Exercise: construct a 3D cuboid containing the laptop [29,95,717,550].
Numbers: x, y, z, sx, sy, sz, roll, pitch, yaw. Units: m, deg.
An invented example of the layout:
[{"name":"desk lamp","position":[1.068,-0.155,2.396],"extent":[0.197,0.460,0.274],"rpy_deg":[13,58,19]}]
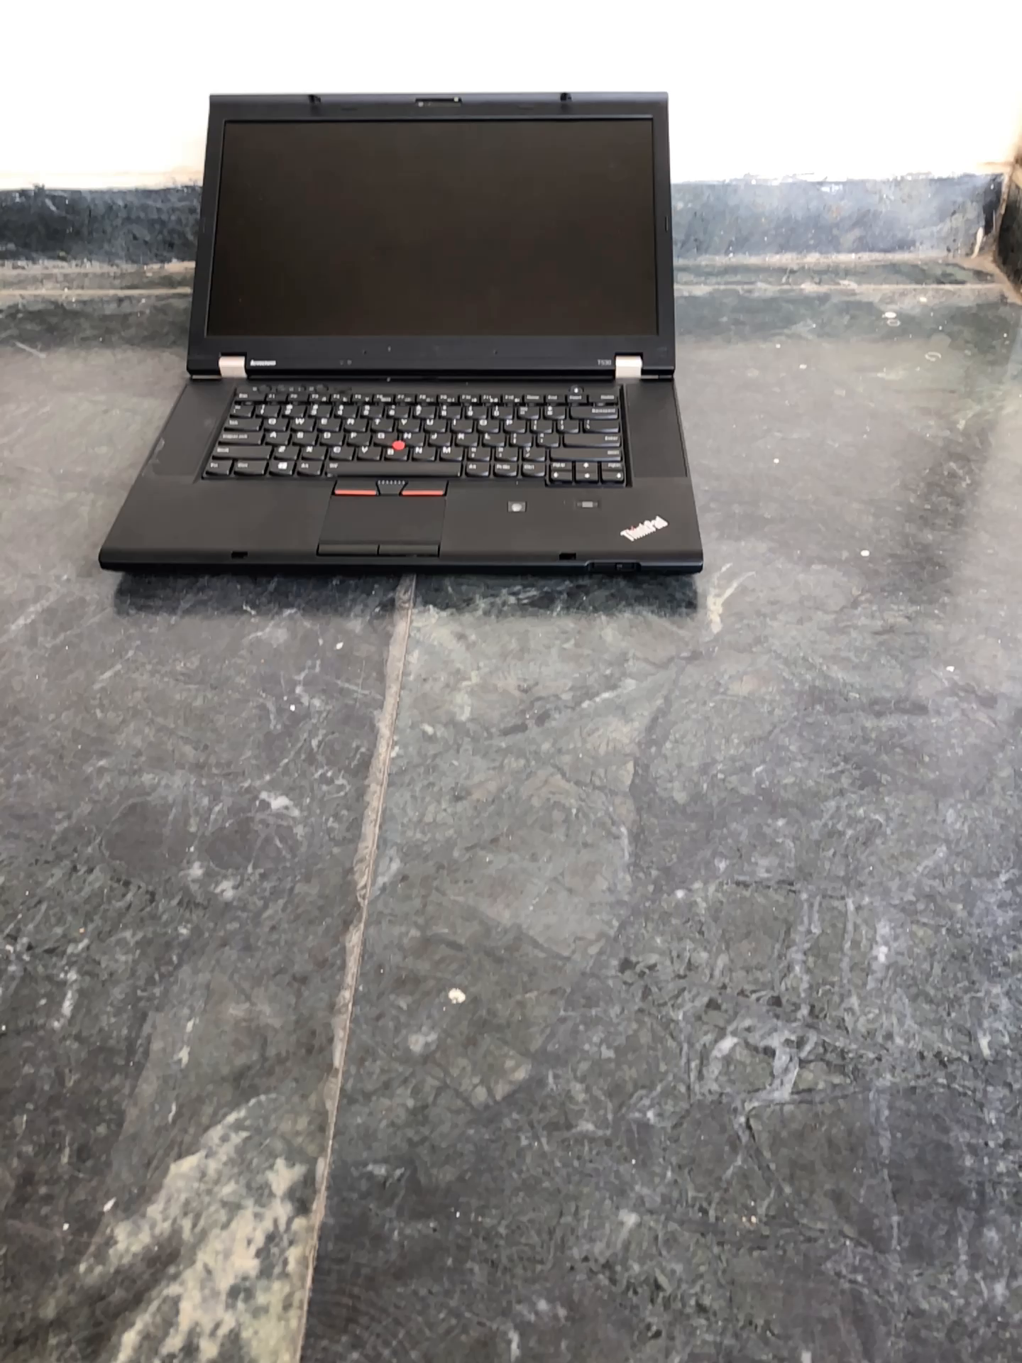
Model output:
[{"name":"laptop","position":[-0.055,-0.238,0.684],"extent":[0.311,0.115,0.377],"rpy_deg":[0,42,2]}]
